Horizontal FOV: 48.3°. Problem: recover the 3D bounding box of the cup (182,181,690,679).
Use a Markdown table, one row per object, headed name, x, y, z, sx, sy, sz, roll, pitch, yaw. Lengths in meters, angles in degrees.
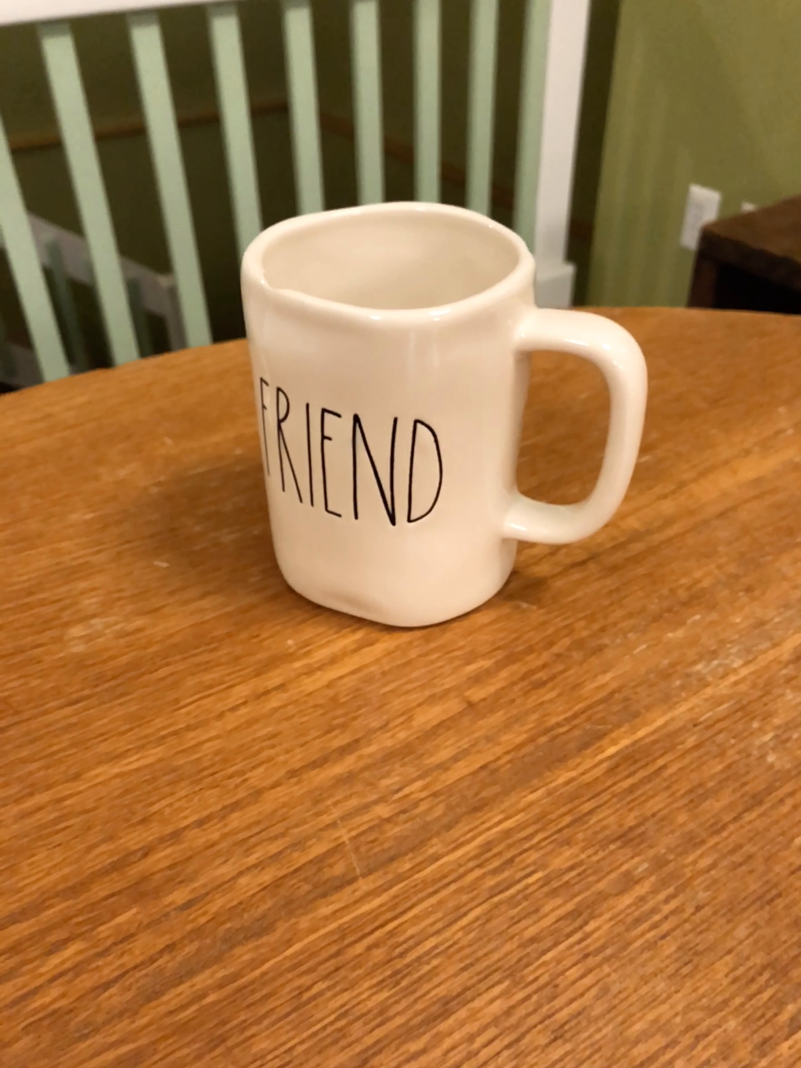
| name | x | y | z | sx | sy | sz | roll | pitch | yaw |
| --- | --- | --- | --- | --- | --- | --- | --- | --- | --- |
| cup | 0.014 | -0.038 | 0.291 | 0.124 | 0.114 | 0.084 | 13 | 40 | 18 |
